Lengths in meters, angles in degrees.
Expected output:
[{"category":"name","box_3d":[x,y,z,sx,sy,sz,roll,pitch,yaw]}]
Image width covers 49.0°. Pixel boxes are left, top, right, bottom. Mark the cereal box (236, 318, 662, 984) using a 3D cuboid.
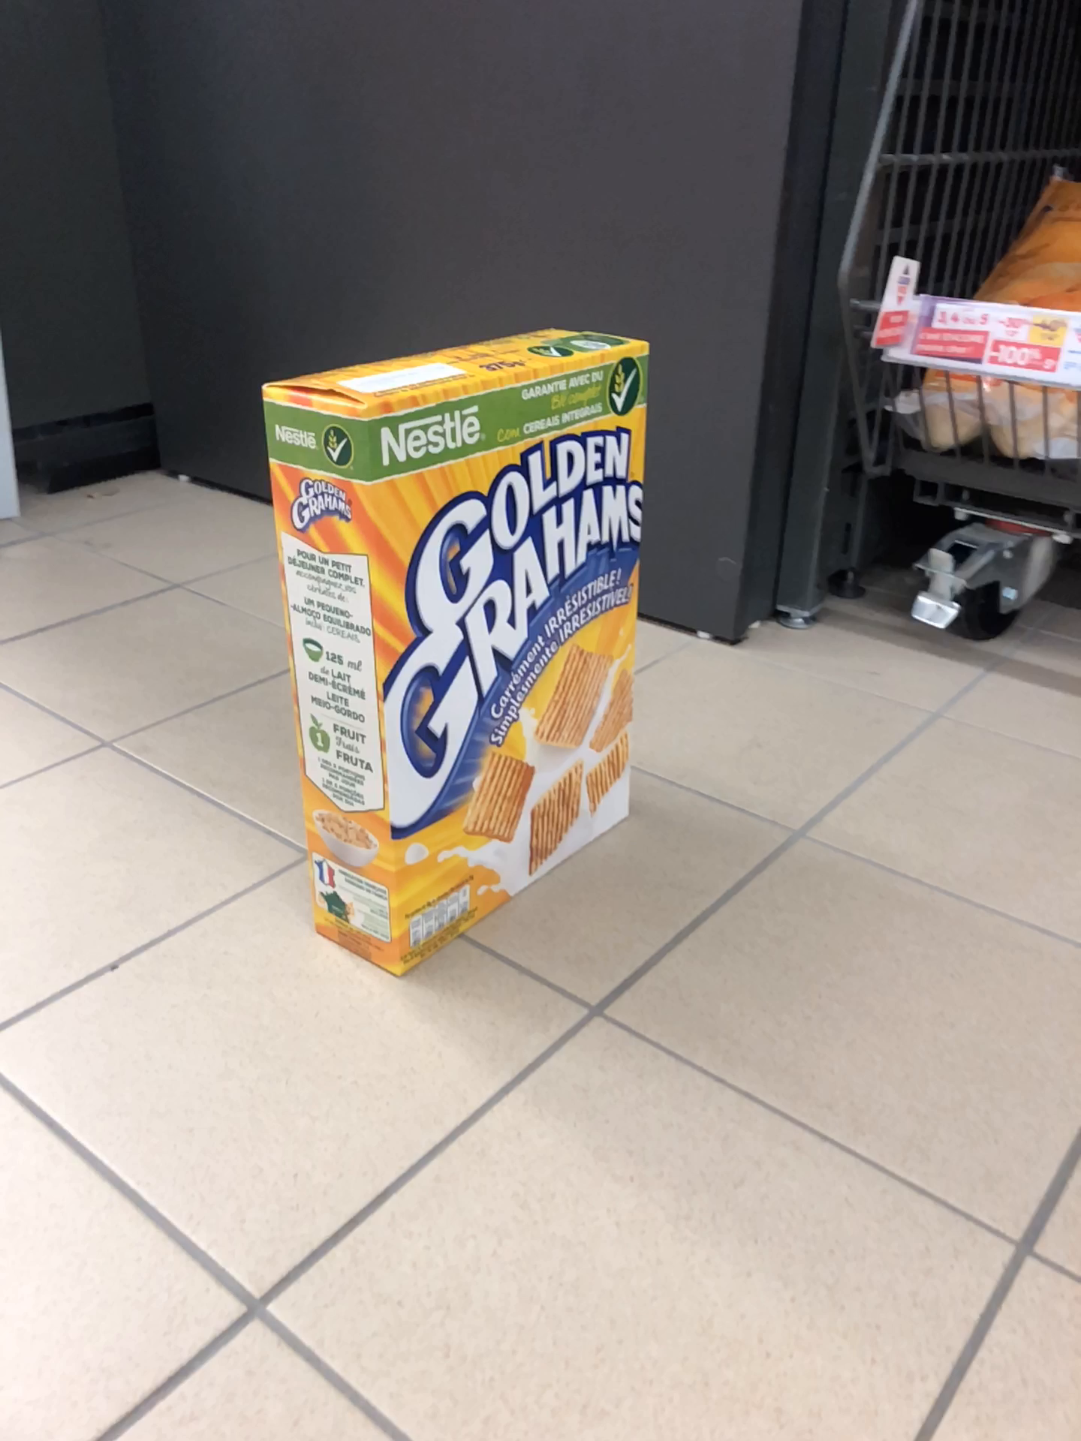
[{"category":"cereal box","box_3d":[-0.034,-0.042,0.584,0.070,0.268,0.201,21,33,33]}]
